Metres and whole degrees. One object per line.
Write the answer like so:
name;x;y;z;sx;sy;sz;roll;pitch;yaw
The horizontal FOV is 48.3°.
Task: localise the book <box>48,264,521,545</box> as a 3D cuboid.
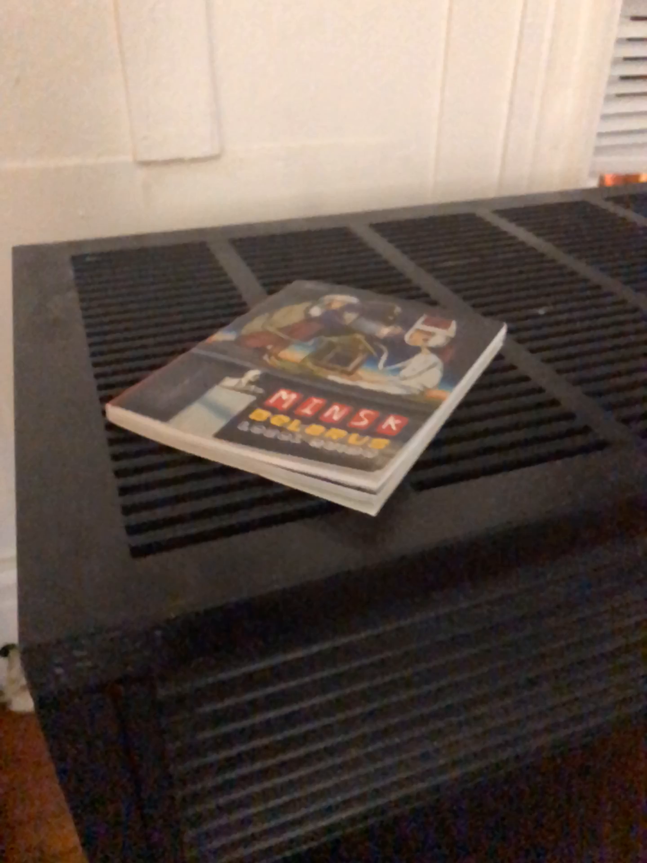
book;-0.006;-0.034;0.374;0.160;0.020;0.201;17;36;24
